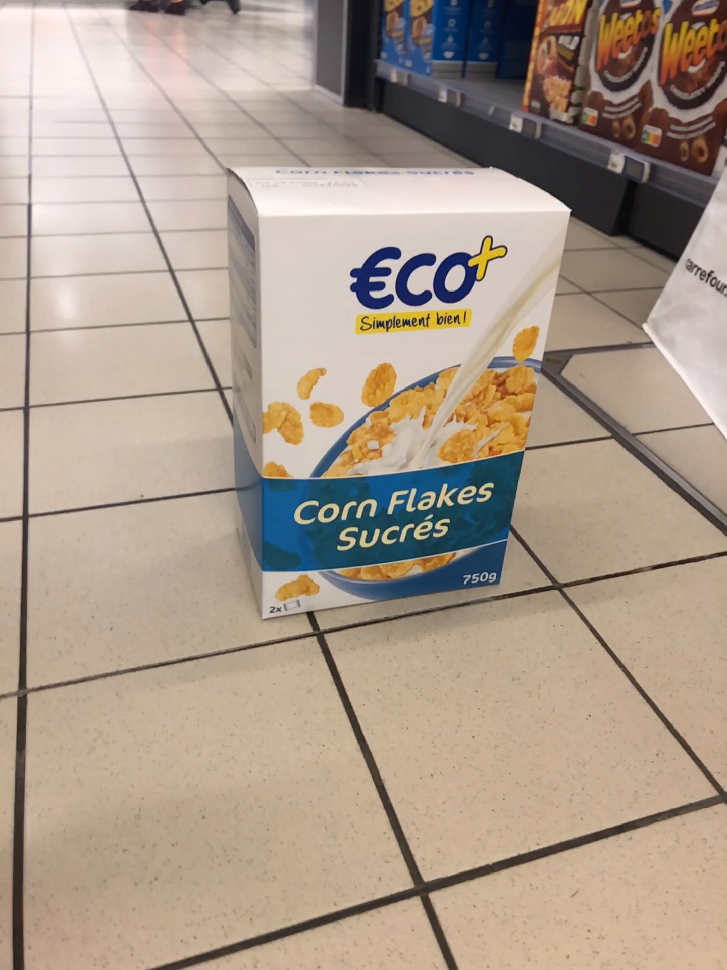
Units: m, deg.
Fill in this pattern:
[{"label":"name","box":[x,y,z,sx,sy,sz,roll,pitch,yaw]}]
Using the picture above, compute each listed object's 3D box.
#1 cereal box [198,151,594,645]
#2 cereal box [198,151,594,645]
[{"label":"cereal box","box":[0.005,-0.061,0.559,0.210,0.298,0.131,-6,32,-15]},{"label":"cereal box","box":[0.005,-0.061,0.559,0.210,0.298,0.131,-6,32,-15]}]
